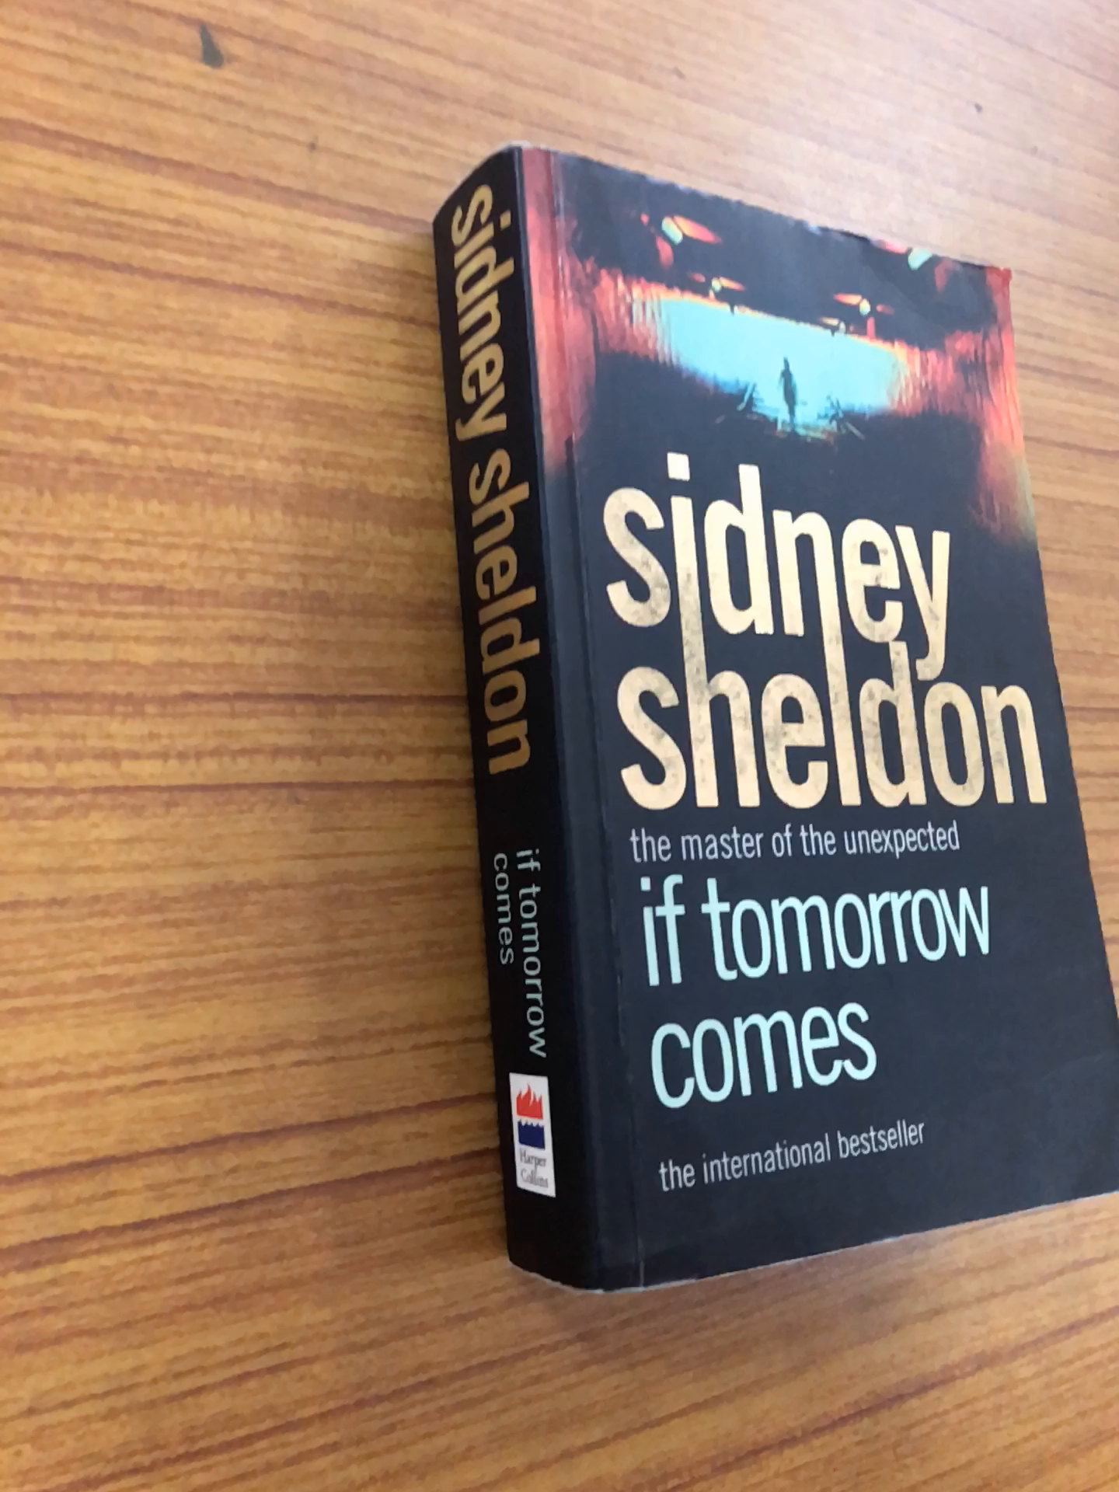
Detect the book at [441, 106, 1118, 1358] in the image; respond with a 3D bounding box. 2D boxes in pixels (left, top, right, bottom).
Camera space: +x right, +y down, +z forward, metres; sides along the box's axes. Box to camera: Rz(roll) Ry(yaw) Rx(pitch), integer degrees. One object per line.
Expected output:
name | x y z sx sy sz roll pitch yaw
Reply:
book | 0.045 -0.005 0.217 0.115 0.034 0.176 1 79 -31
